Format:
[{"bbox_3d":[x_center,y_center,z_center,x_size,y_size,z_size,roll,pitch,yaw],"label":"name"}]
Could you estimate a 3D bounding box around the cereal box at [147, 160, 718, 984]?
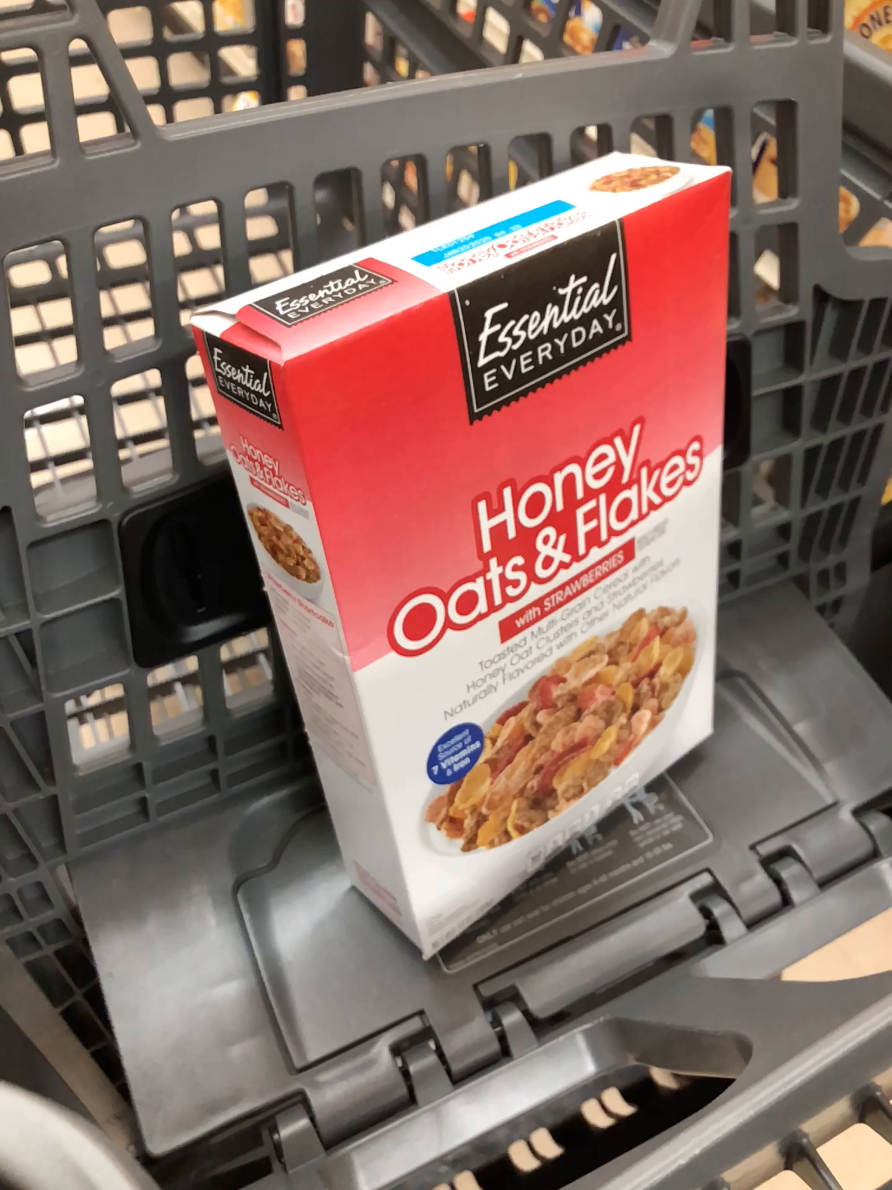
[{"bbox_3d":[0.019,-0.003,0.381,0.180,0.260,0.060,-31,41,-28],"label":"cereal box"}]
